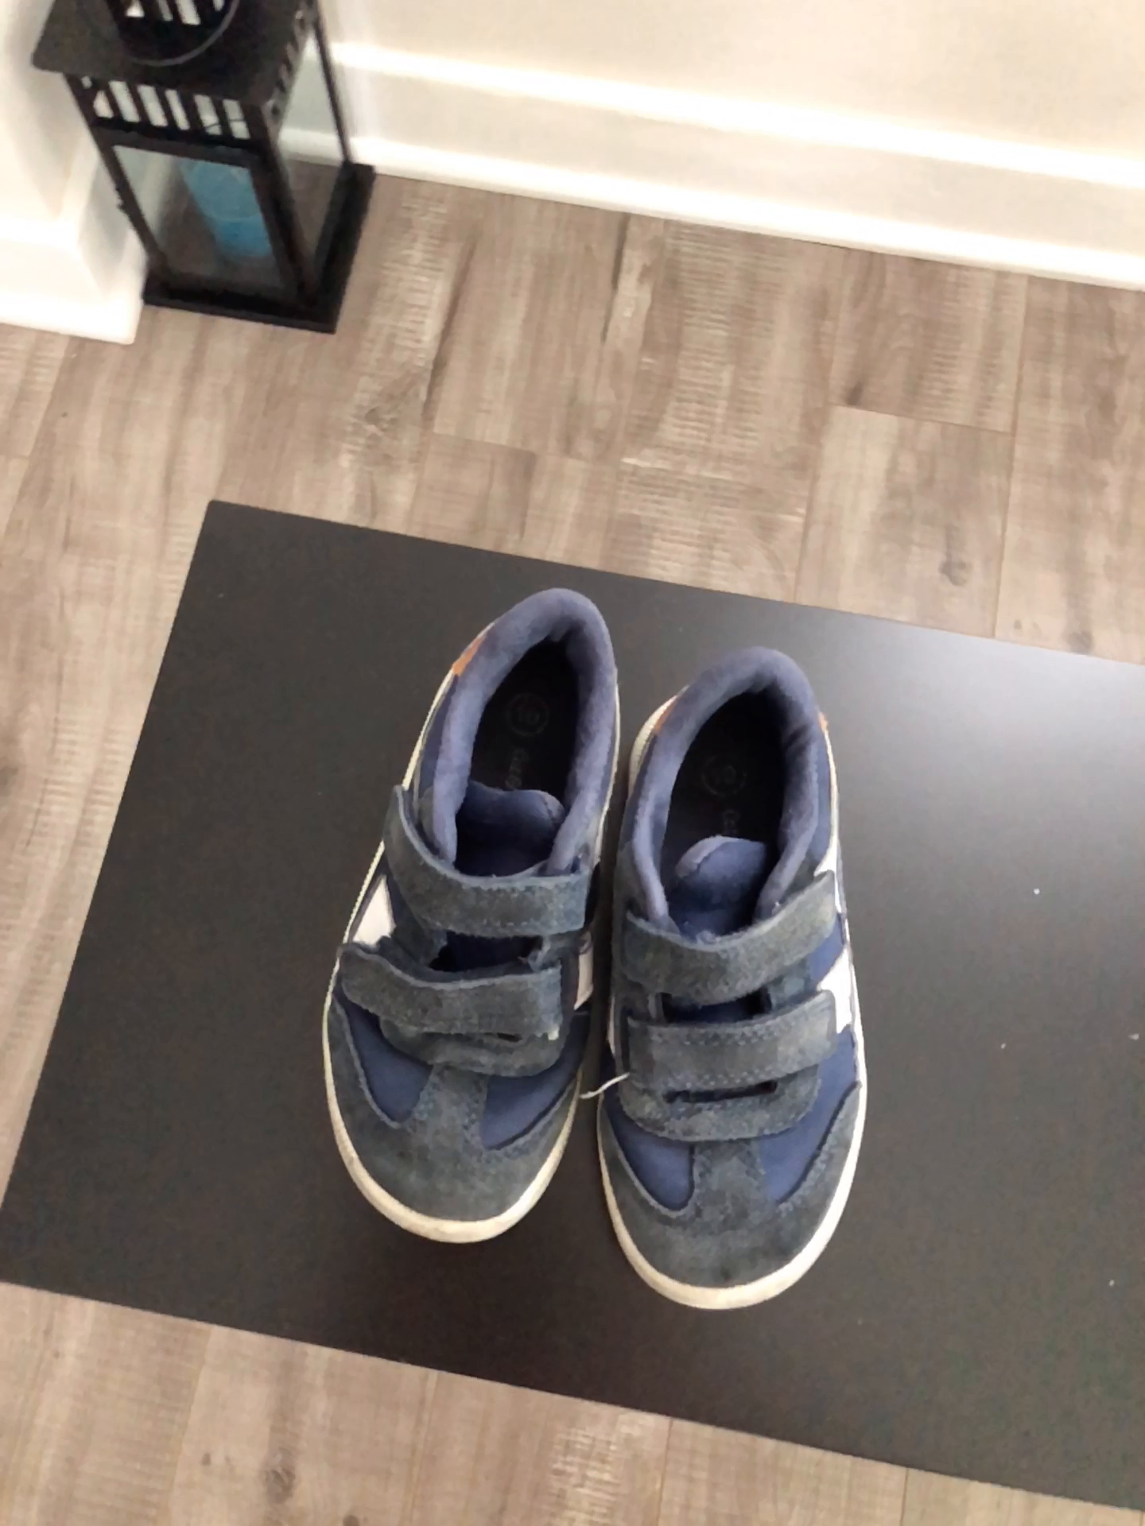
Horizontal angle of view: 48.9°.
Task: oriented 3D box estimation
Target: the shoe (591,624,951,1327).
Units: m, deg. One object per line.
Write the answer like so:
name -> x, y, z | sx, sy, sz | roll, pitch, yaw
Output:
shoe -> 0.051, 0.059, 0.369 | 0.088, 0.068, 0.185 | 1, 75, 0

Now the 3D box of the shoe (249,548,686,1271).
shoe -> -0.025, 0.041, 0.373 | 0.082, 0.068, 0.185 | 10, 75, 2
